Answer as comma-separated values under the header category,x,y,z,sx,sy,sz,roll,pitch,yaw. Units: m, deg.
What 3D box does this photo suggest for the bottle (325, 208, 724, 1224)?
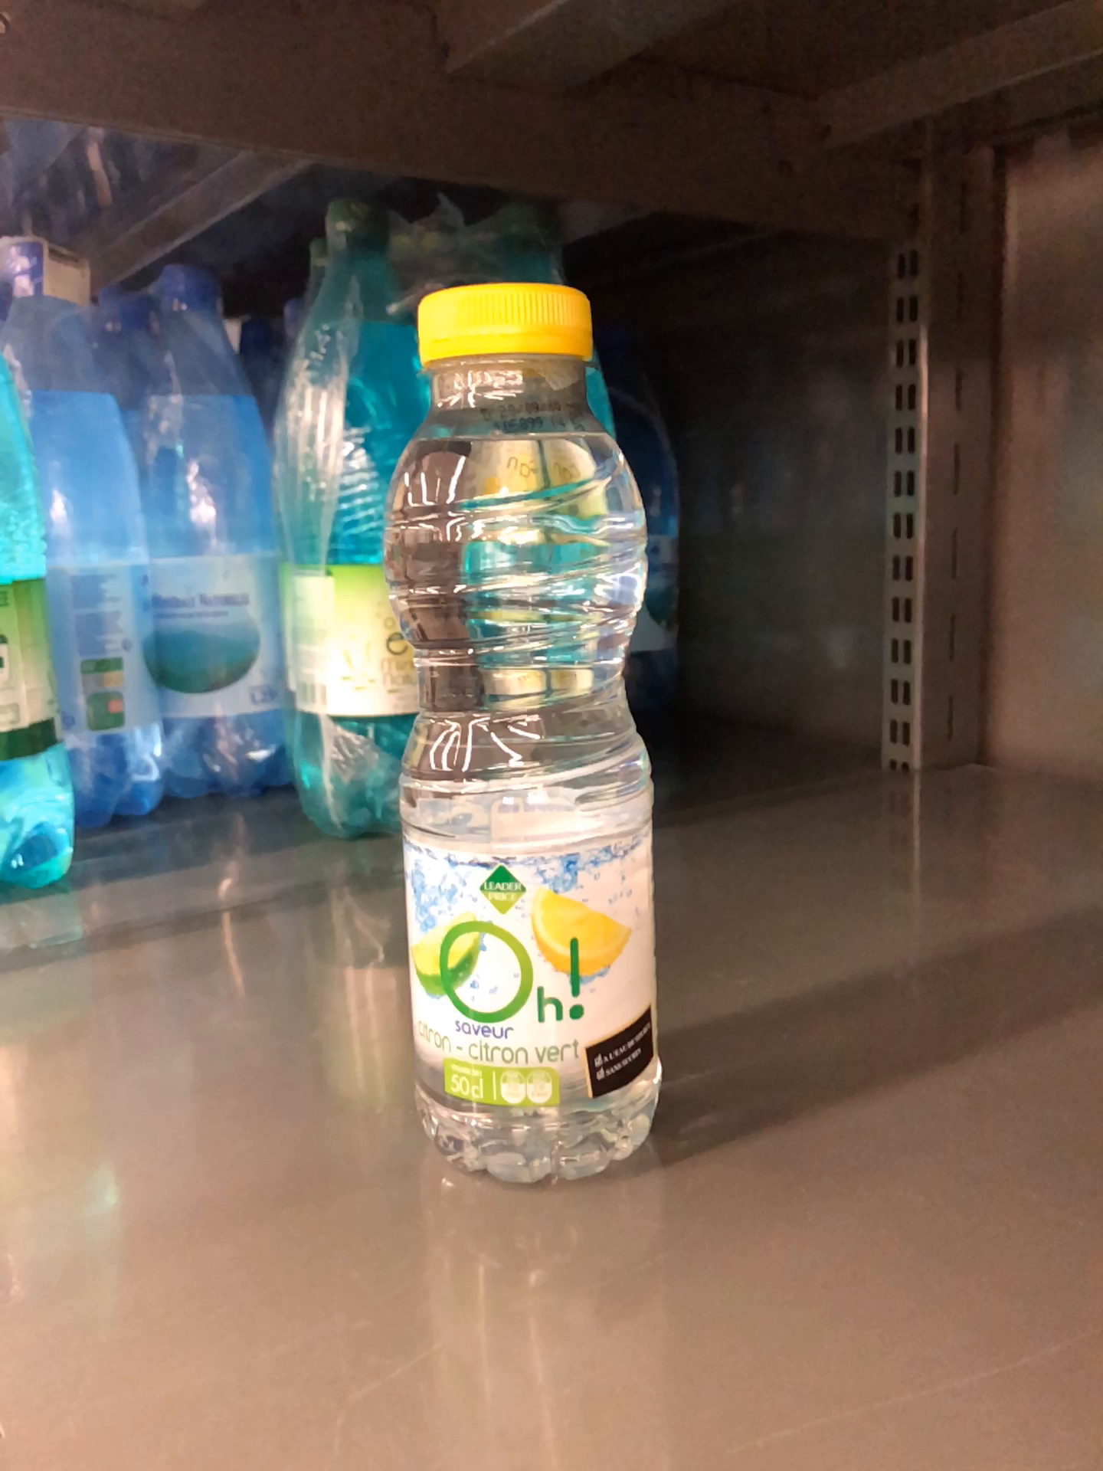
category,x,y,z,sx,sy,sz,roll,pitch,yaw
bottle,-0.001,-0.004,0.291,0.070,0.210,0.060,2,10,23
